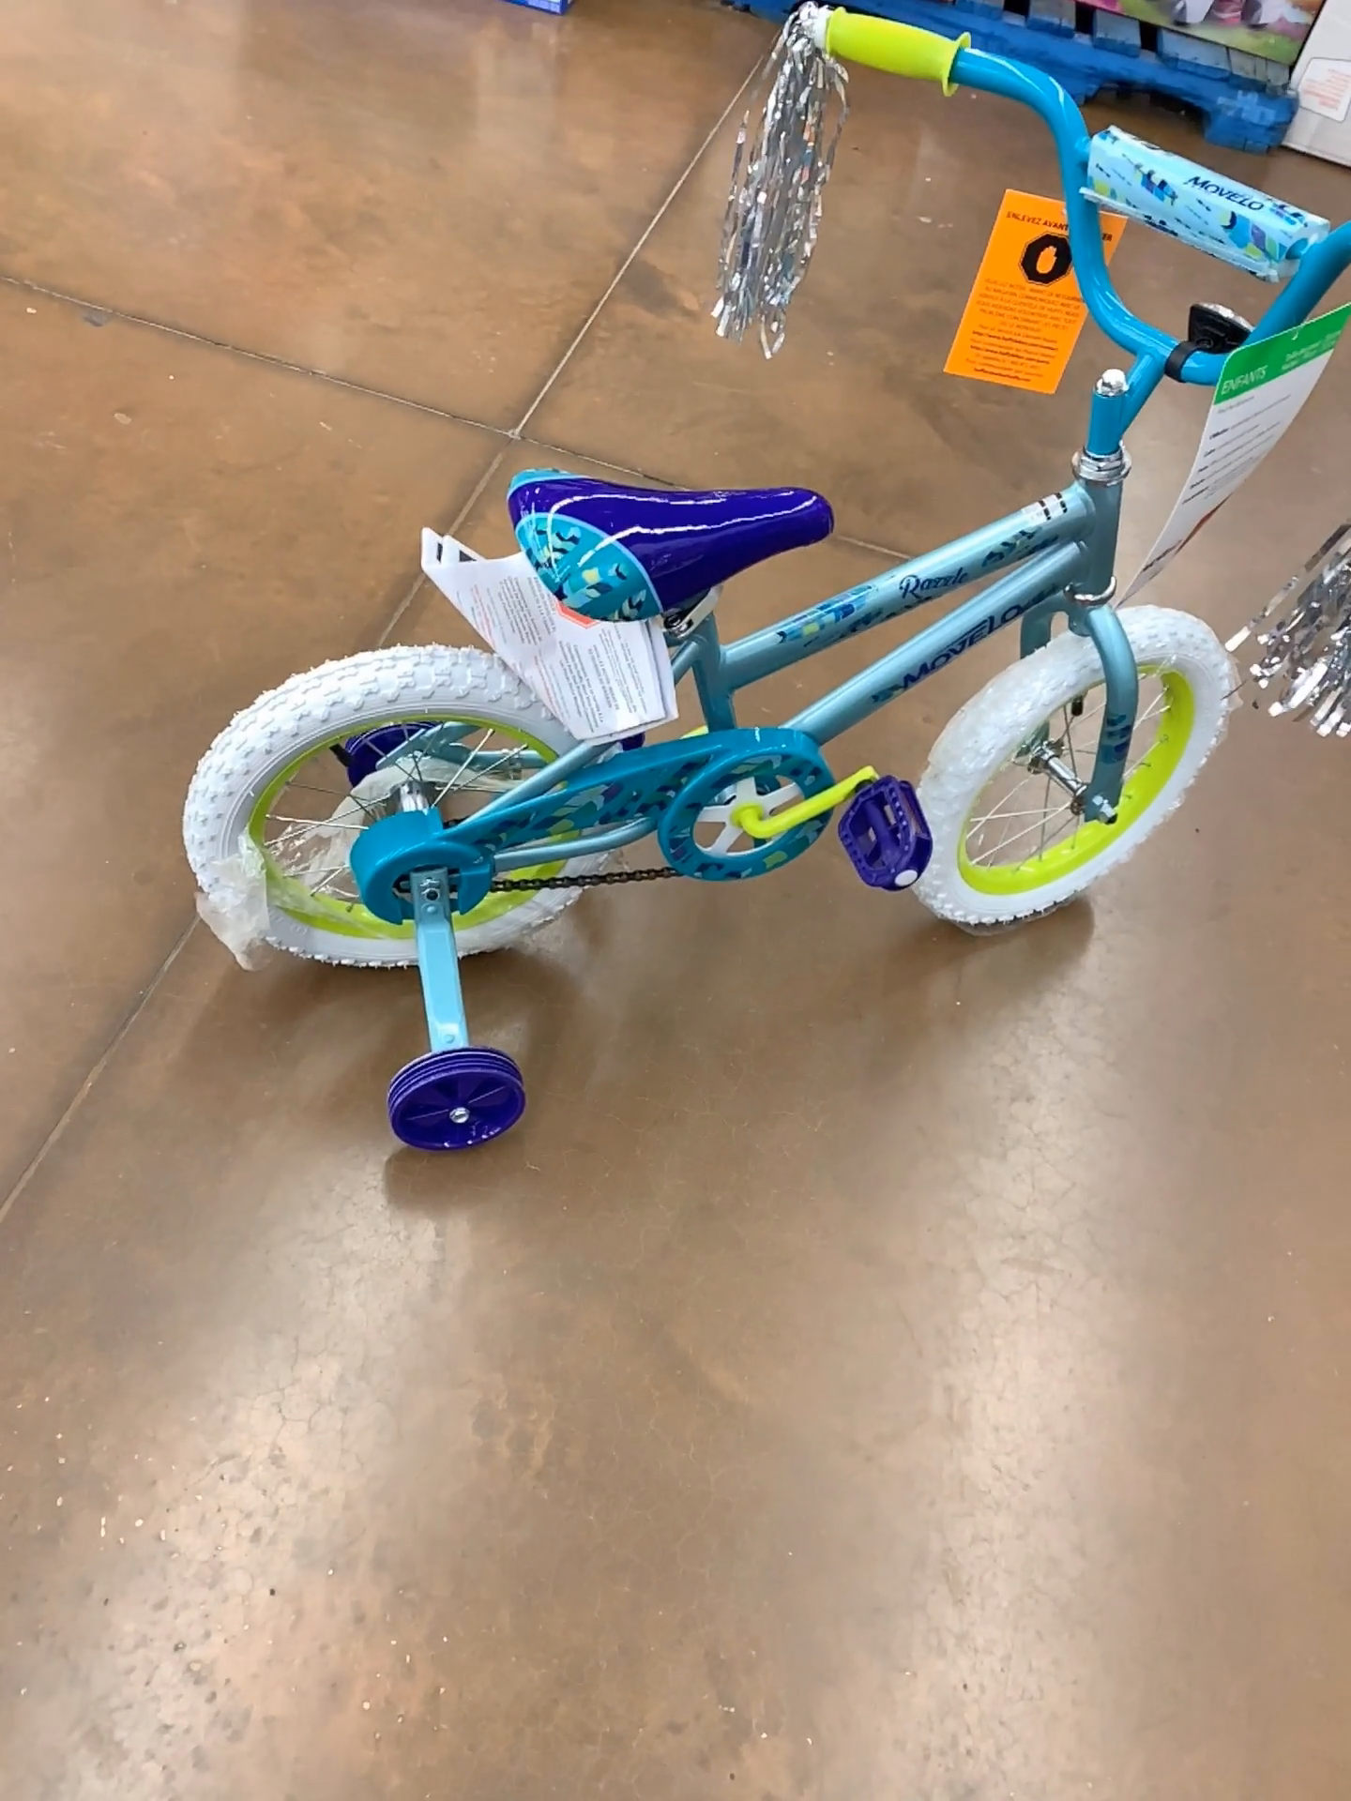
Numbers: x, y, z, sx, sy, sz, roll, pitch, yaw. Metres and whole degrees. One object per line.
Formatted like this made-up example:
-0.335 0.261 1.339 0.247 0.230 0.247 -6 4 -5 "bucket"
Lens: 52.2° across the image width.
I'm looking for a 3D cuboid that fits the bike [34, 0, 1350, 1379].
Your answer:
0.117 -0.196 0.963 0.860 0.639 0.625 -10 53 -21 "bike"
